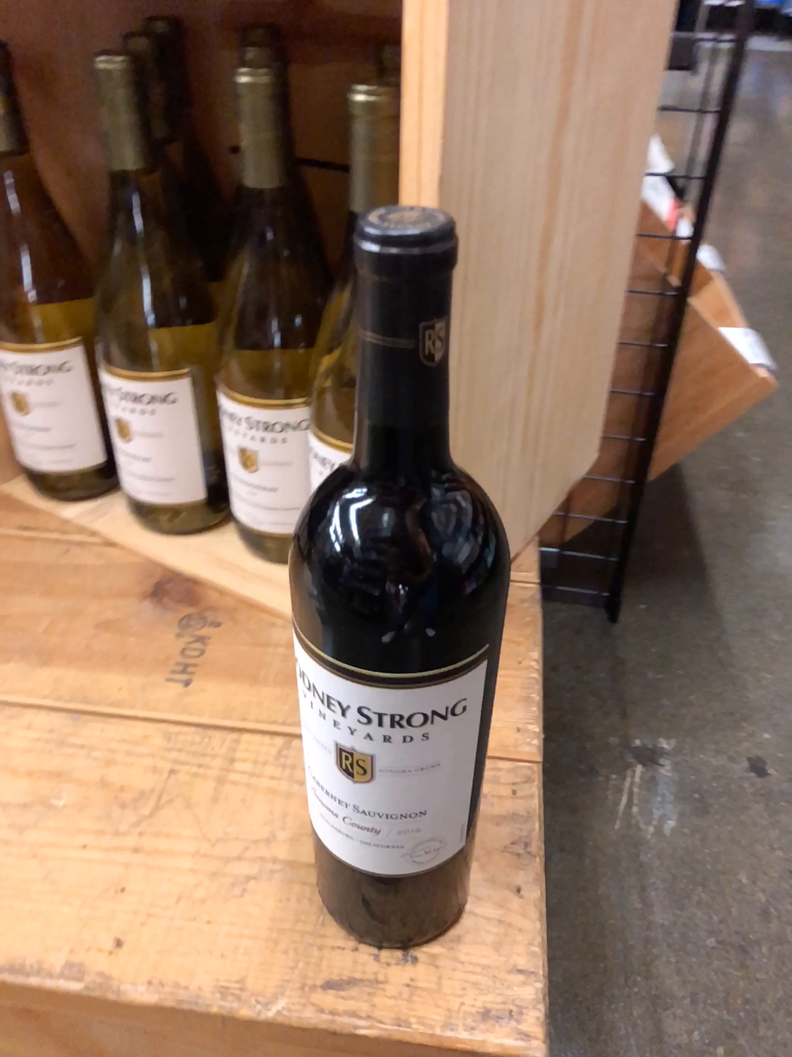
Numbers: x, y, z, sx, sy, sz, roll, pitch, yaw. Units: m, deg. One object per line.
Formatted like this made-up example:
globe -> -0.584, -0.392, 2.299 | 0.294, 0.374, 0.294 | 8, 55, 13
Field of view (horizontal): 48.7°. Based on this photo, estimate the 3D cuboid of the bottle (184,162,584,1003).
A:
bottle -> -0.004, 0.043, 0.317 | 0.080, 0.309, 0.070 | 19, 39, 23
